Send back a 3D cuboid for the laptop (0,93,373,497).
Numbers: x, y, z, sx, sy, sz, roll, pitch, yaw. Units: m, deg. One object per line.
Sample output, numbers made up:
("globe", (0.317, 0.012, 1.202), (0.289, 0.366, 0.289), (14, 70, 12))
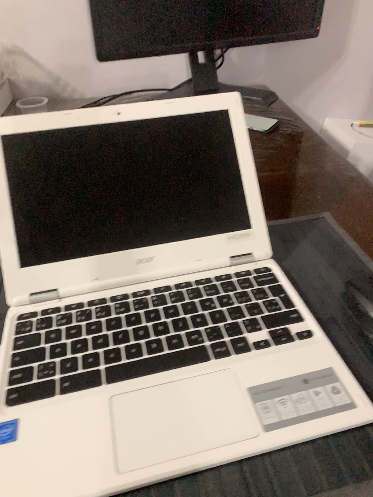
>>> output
("laptop", (-0.034, -0.005, 0.345), (0.284, 0.142, 0.329), (-10, 39, -10))
